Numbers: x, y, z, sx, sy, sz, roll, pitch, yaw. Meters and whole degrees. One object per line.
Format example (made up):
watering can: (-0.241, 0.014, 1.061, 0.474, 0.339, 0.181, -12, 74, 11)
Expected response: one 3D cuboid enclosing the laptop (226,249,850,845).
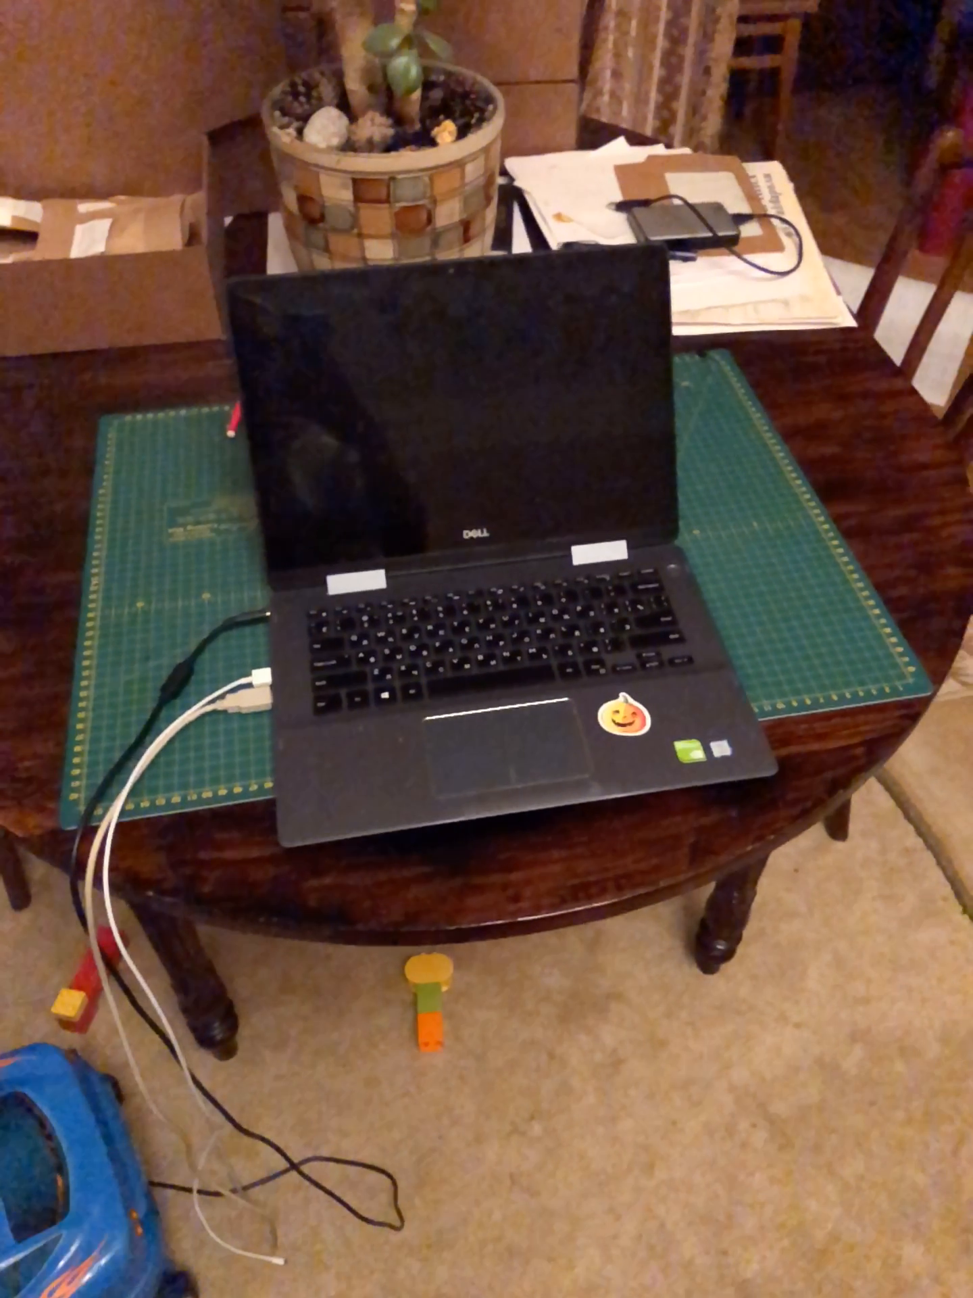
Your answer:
laptop: (0.004, -0.085, 0.727, 0.321, 0.192, 0.338, -7, 48, -6)
